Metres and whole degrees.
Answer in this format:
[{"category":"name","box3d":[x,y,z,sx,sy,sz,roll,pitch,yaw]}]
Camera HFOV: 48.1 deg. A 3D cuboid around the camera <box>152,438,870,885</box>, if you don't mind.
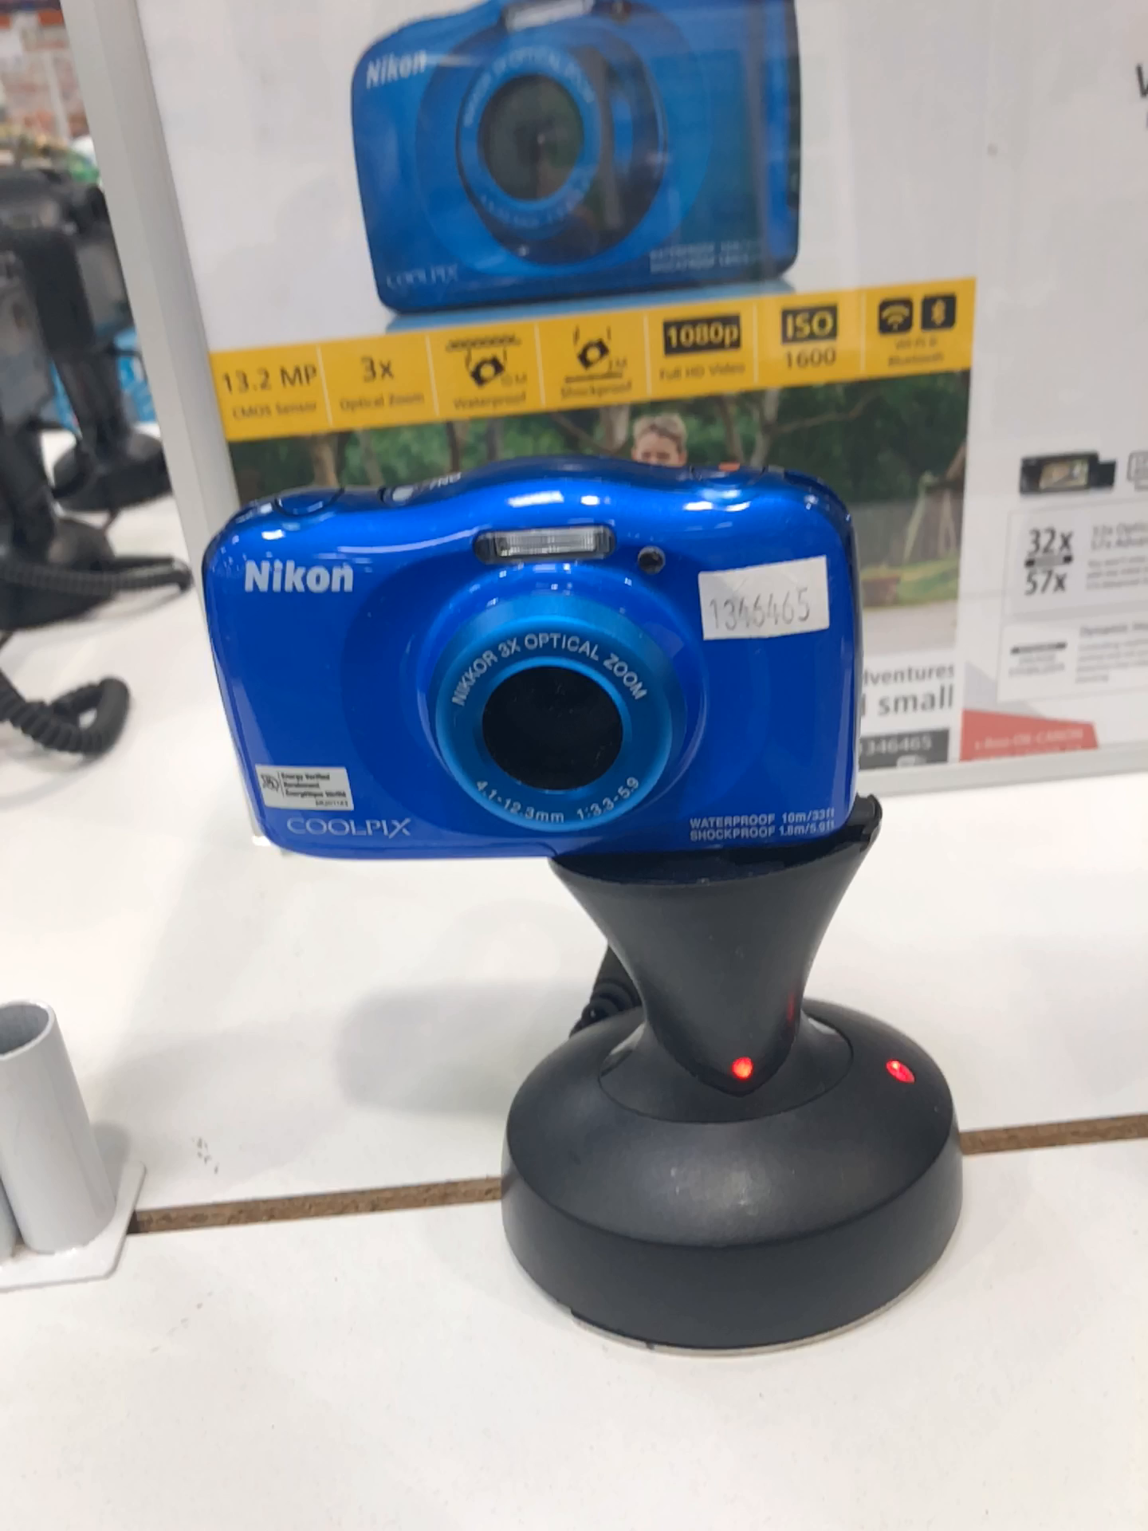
[{"category":"camera","box3d":[-0.008,-0.019,0.227,0.110,0.060,0.040,-4,27,3]}]
